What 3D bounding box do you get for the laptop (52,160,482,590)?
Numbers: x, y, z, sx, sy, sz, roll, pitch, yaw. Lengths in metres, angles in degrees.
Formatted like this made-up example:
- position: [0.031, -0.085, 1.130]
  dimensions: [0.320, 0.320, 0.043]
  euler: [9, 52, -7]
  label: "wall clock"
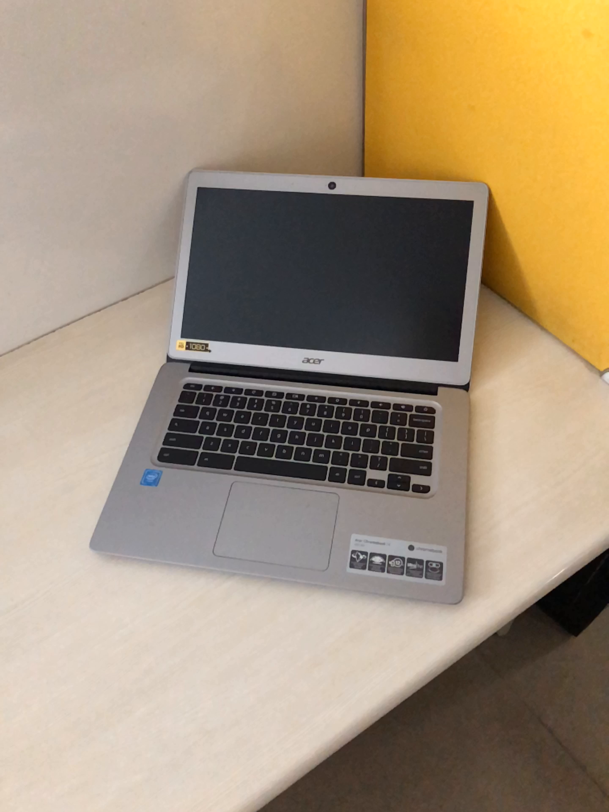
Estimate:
- position: [-0.002, -0.061, 0.666]
  dimensions: [0.319, 0.123, 0.411]
  euler: [6, 54, 9]
  label: "laptop"
